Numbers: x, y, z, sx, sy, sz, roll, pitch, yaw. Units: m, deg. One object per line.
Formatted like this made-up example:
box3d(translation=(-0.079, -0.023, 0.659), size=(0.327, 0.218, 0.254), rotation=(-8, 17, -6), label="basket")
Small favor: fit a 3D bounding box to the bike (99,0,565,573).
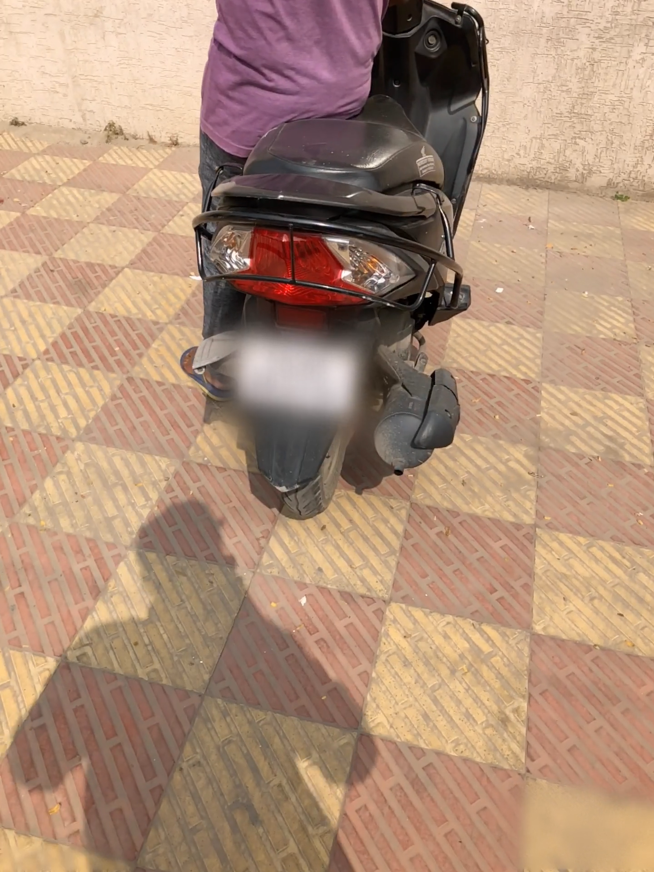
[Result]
box3d(translation=(0.083, -0.602, 1.778), size=(0.573, 0.987, 1.516), rotation=(6, 40, 5), label="bike")
